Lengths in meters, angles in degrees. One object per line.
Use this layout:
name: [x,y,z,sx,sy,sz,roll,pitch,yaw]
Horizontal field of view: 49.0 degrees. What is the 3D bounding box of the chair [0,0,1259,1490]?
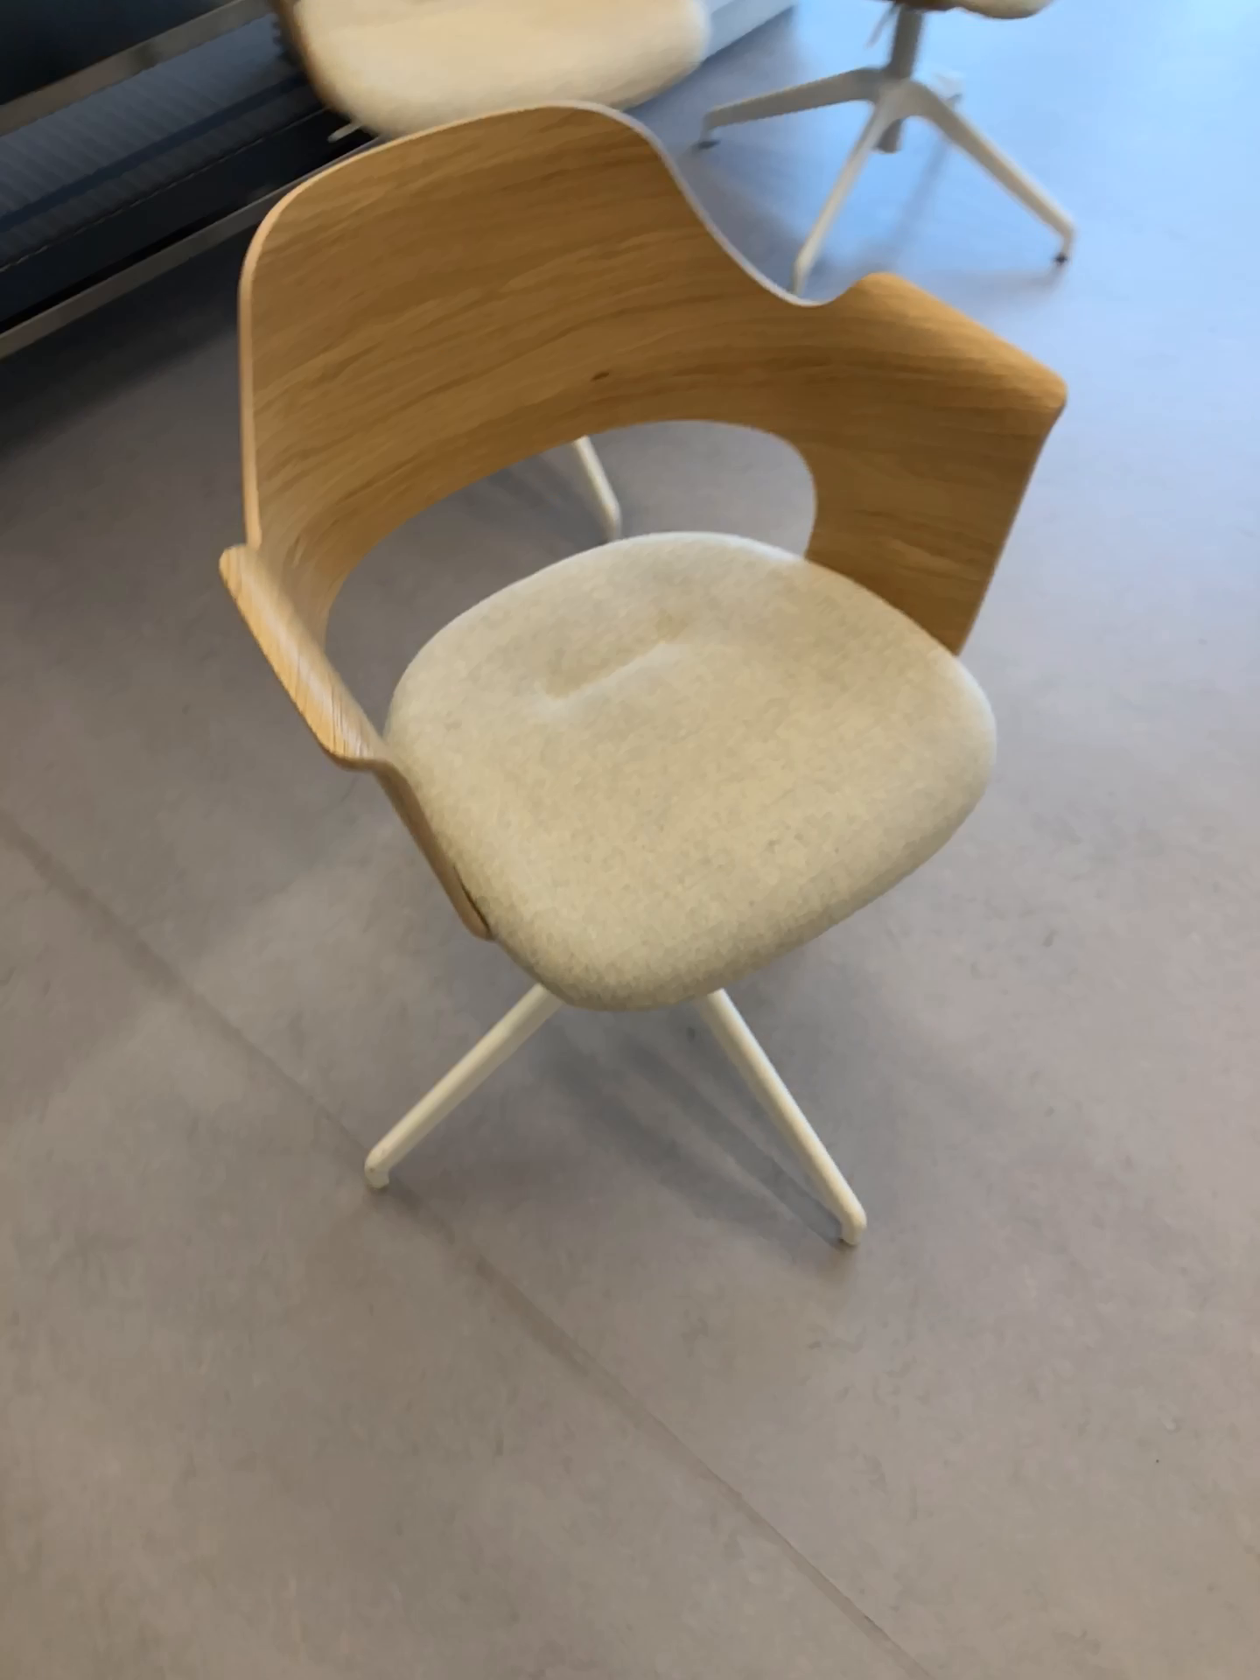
chair: [0.032,-0.052,1.086,0.711,0.776,0.663,-21,58,-15]
